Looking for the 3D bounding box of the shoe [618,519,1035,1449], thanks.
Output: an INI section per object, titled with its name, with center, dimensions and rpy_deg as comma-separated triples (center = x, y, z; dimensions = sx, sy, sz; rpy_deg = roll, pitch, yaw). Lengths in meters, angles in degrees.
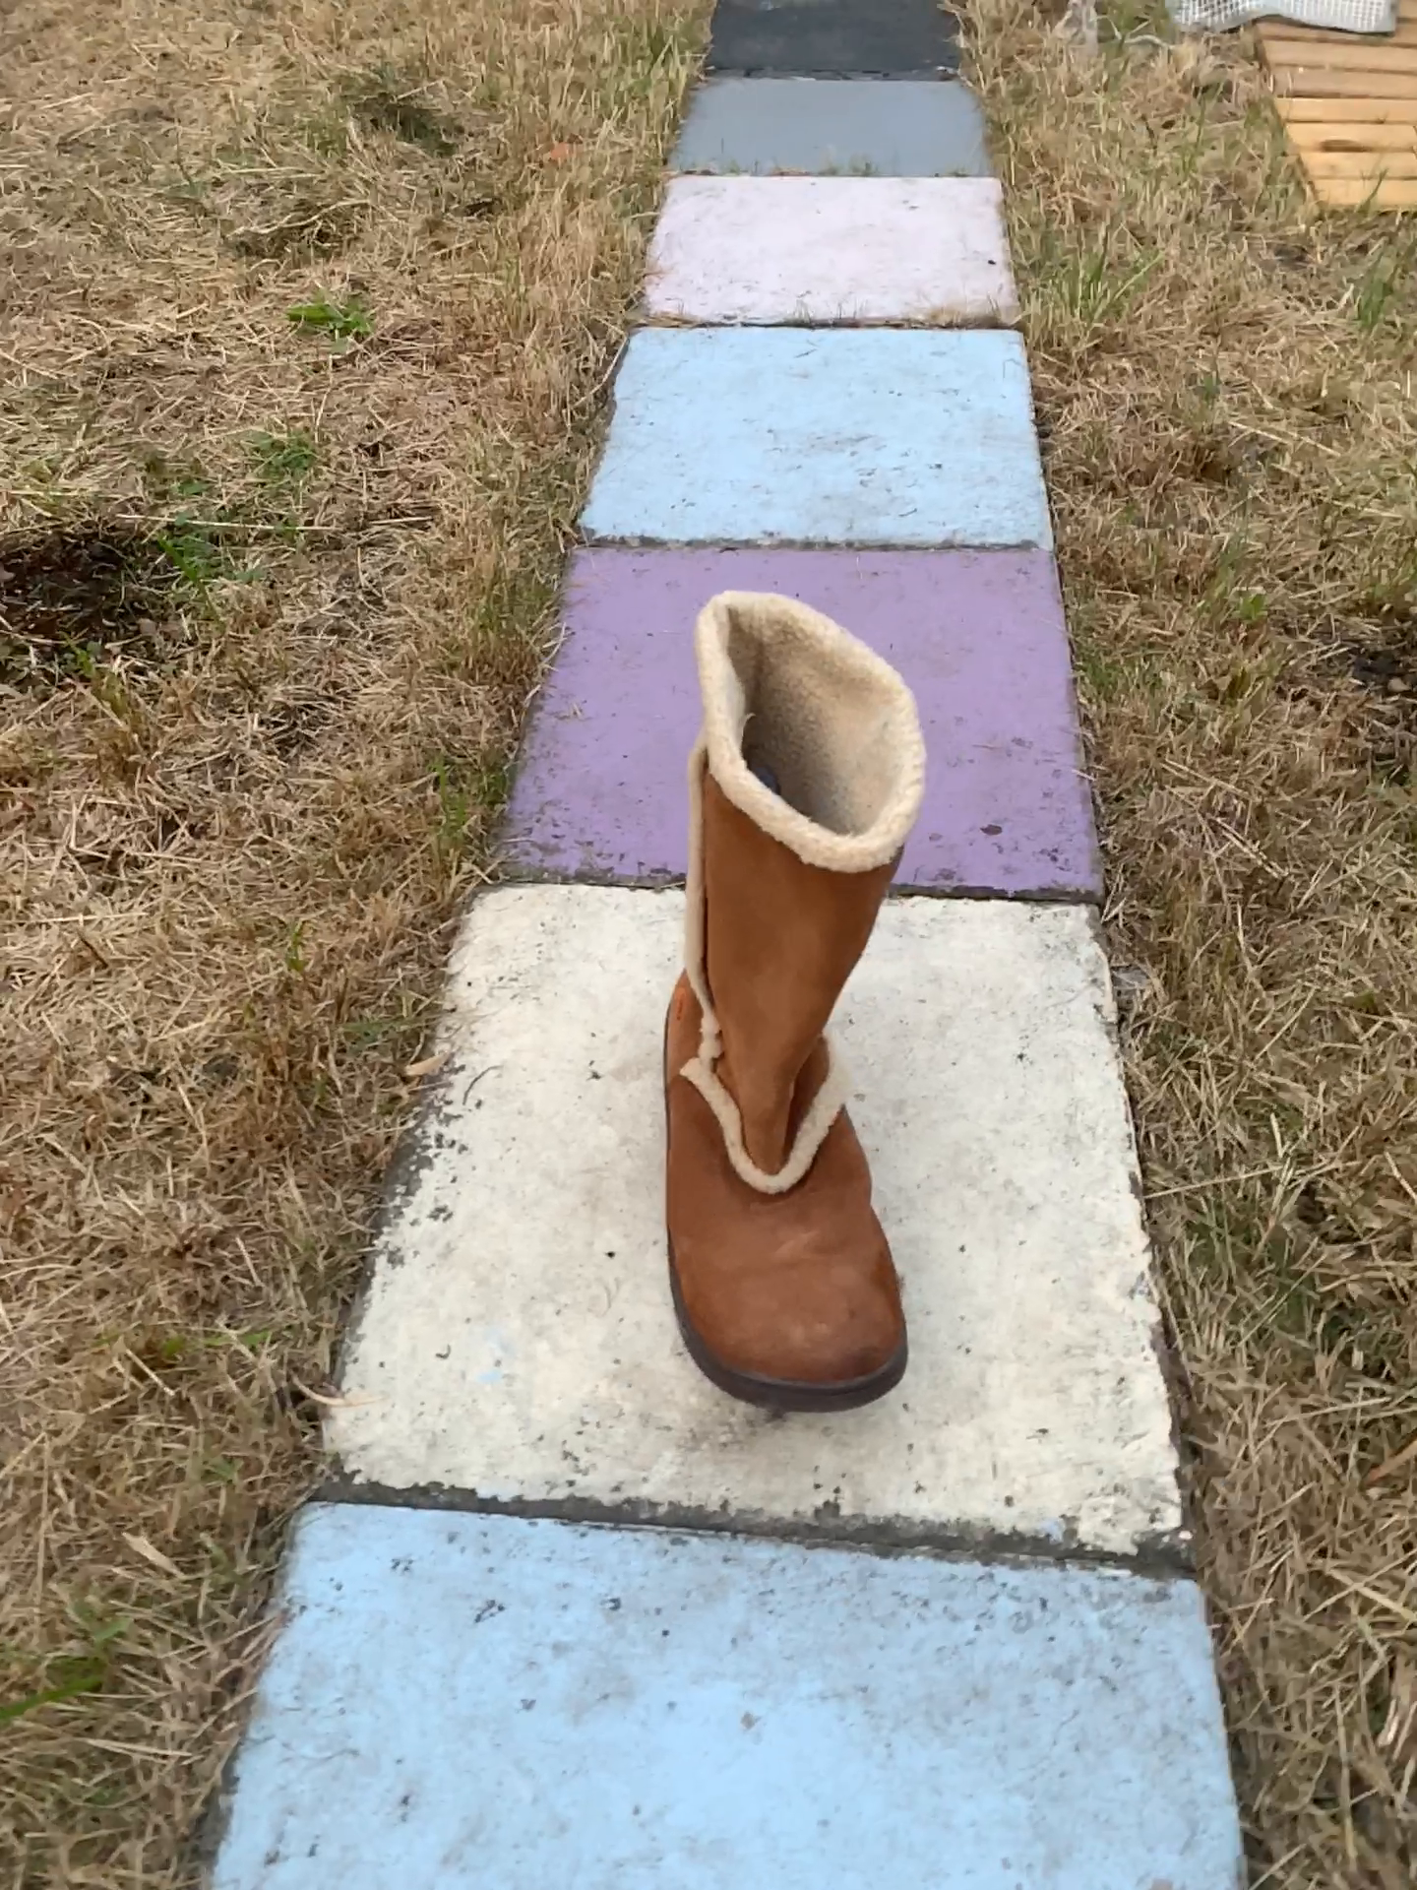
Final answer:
[shoe]
center = 0.029, 0.020, 0.621
dimensions = 0.110, 0.297, 0.263
rpy_deg = -4, 46, -4
